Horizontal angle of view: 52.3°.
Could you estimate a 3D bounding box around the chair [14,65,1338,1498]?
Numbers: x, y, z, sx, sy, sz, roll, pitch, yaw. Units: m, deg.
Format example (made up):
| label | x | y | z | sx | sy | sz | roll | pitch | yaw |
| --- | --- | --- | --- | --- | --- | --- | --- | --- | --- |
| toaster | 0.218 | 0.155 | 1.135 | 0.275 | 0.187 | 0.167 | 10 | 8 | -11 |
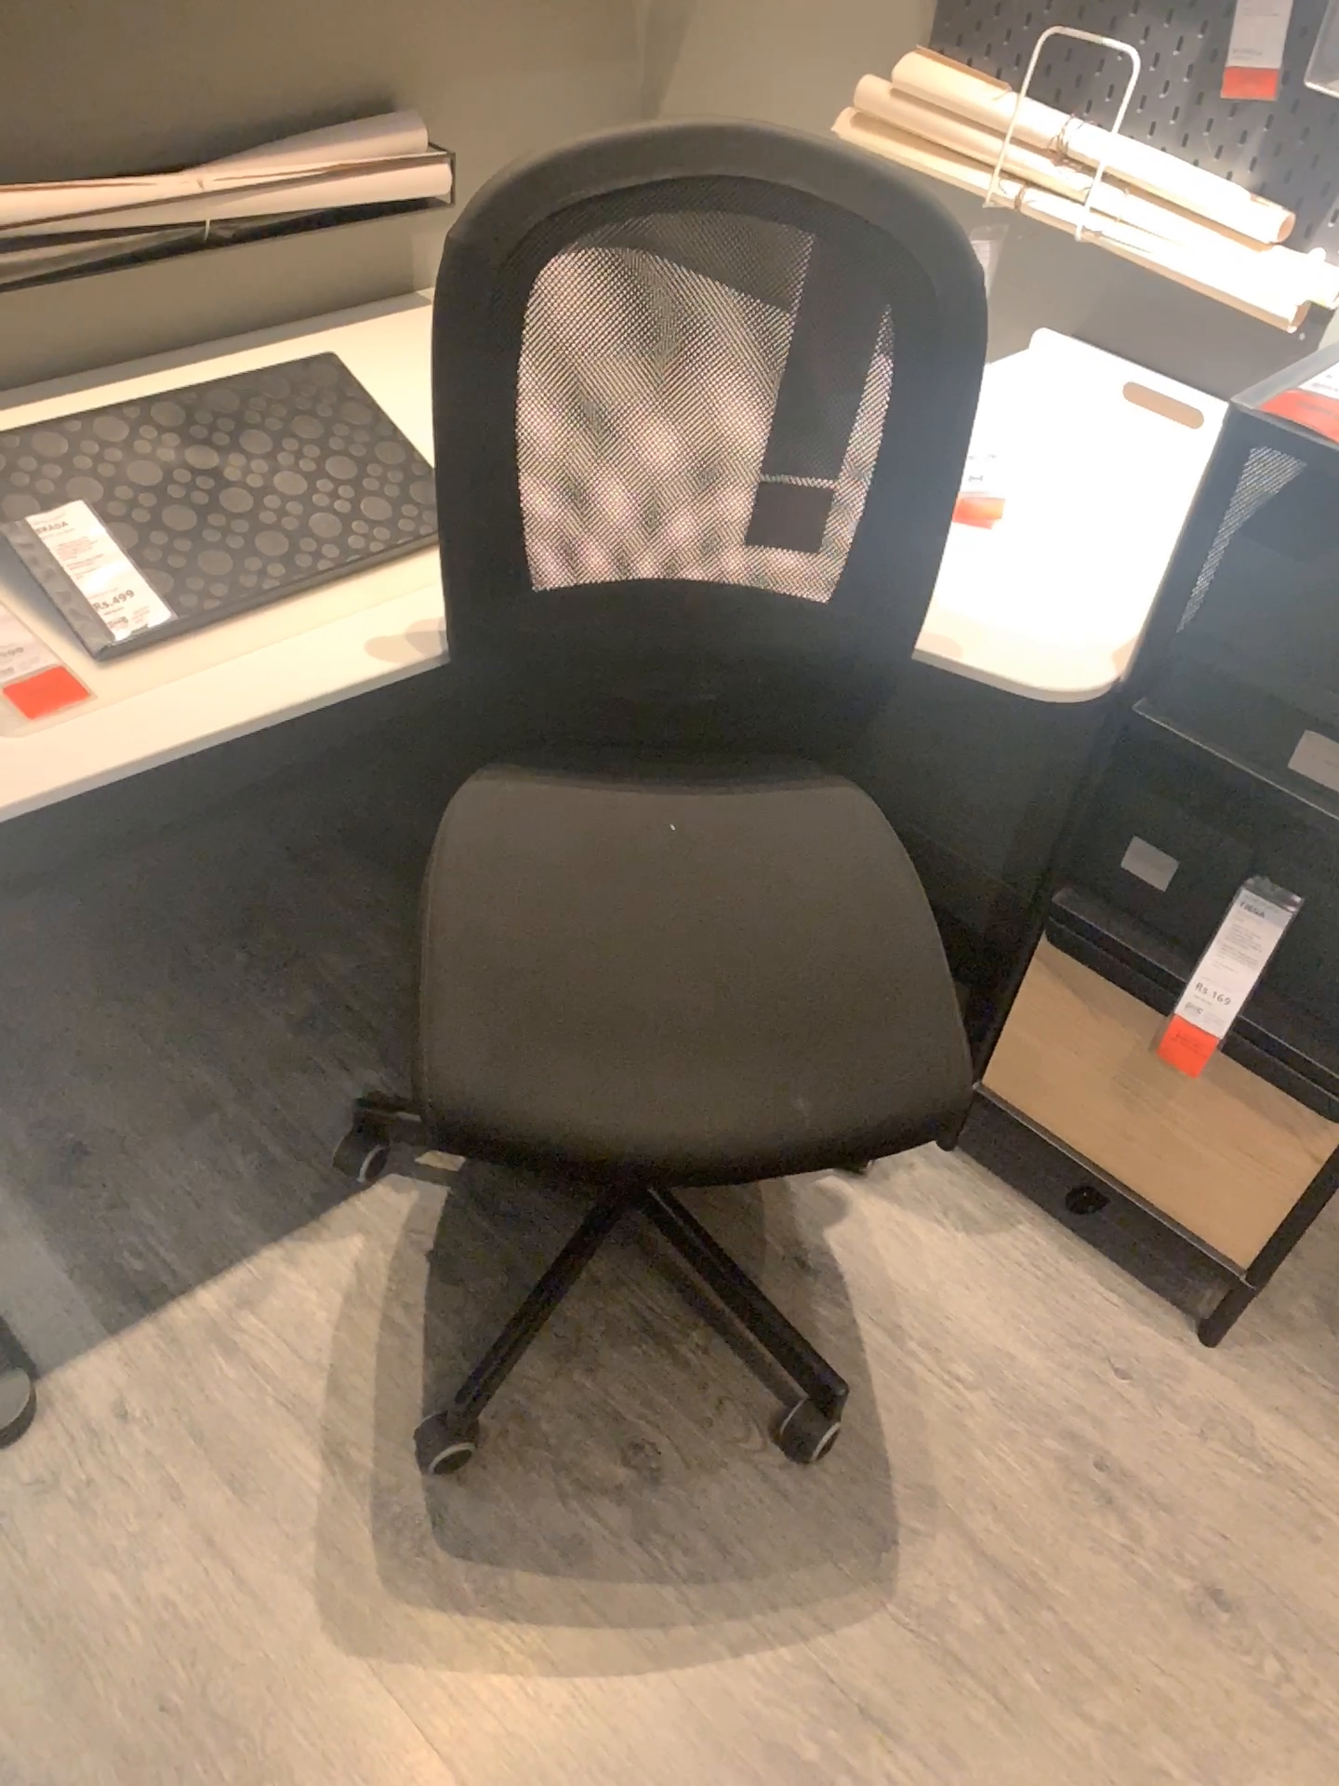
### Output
| label | x | y | z | sx | sy | sz | roll | pitch | yaw |
| --- | --- | --- | --- | --- | --- | --- | --- | --- | --- |
| chair | -0.011 | -0.042 | 1.210 | 0.690 | 0.996 | 0.713 | 1 | 44 | -7 |
